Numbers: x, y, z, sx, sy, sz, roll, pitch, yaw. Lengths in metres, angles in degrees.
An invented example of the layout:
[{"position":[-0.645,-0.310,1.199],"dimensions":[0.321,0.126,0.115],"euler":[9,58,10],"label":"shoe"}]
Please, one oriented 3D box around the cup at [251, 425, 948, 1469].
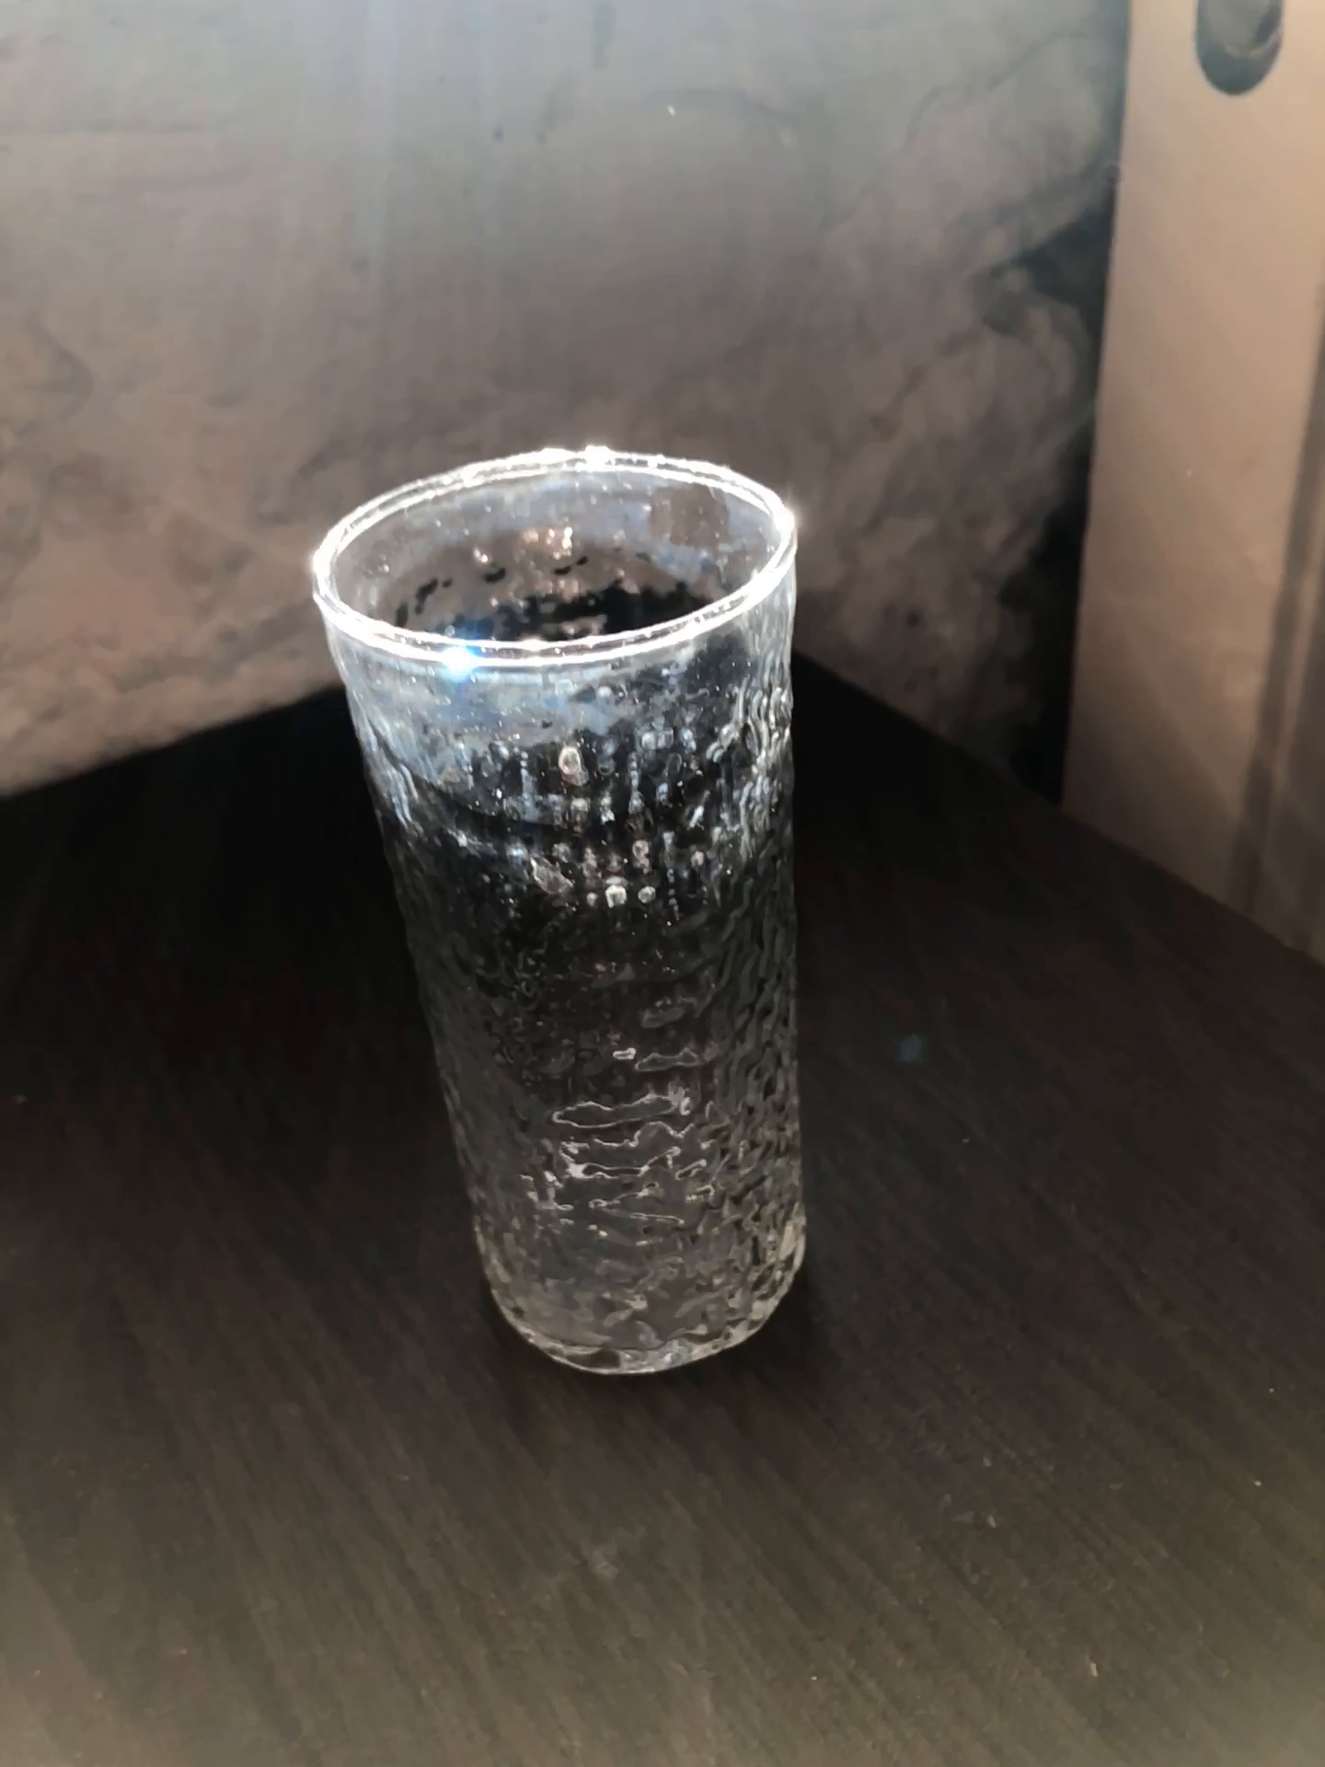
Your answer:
[{"position":[-0.007,0.010,0.230],"dimensions":[0.070,0.130,0.068],"euler":[-4,34,3],"label":"cup"}]
